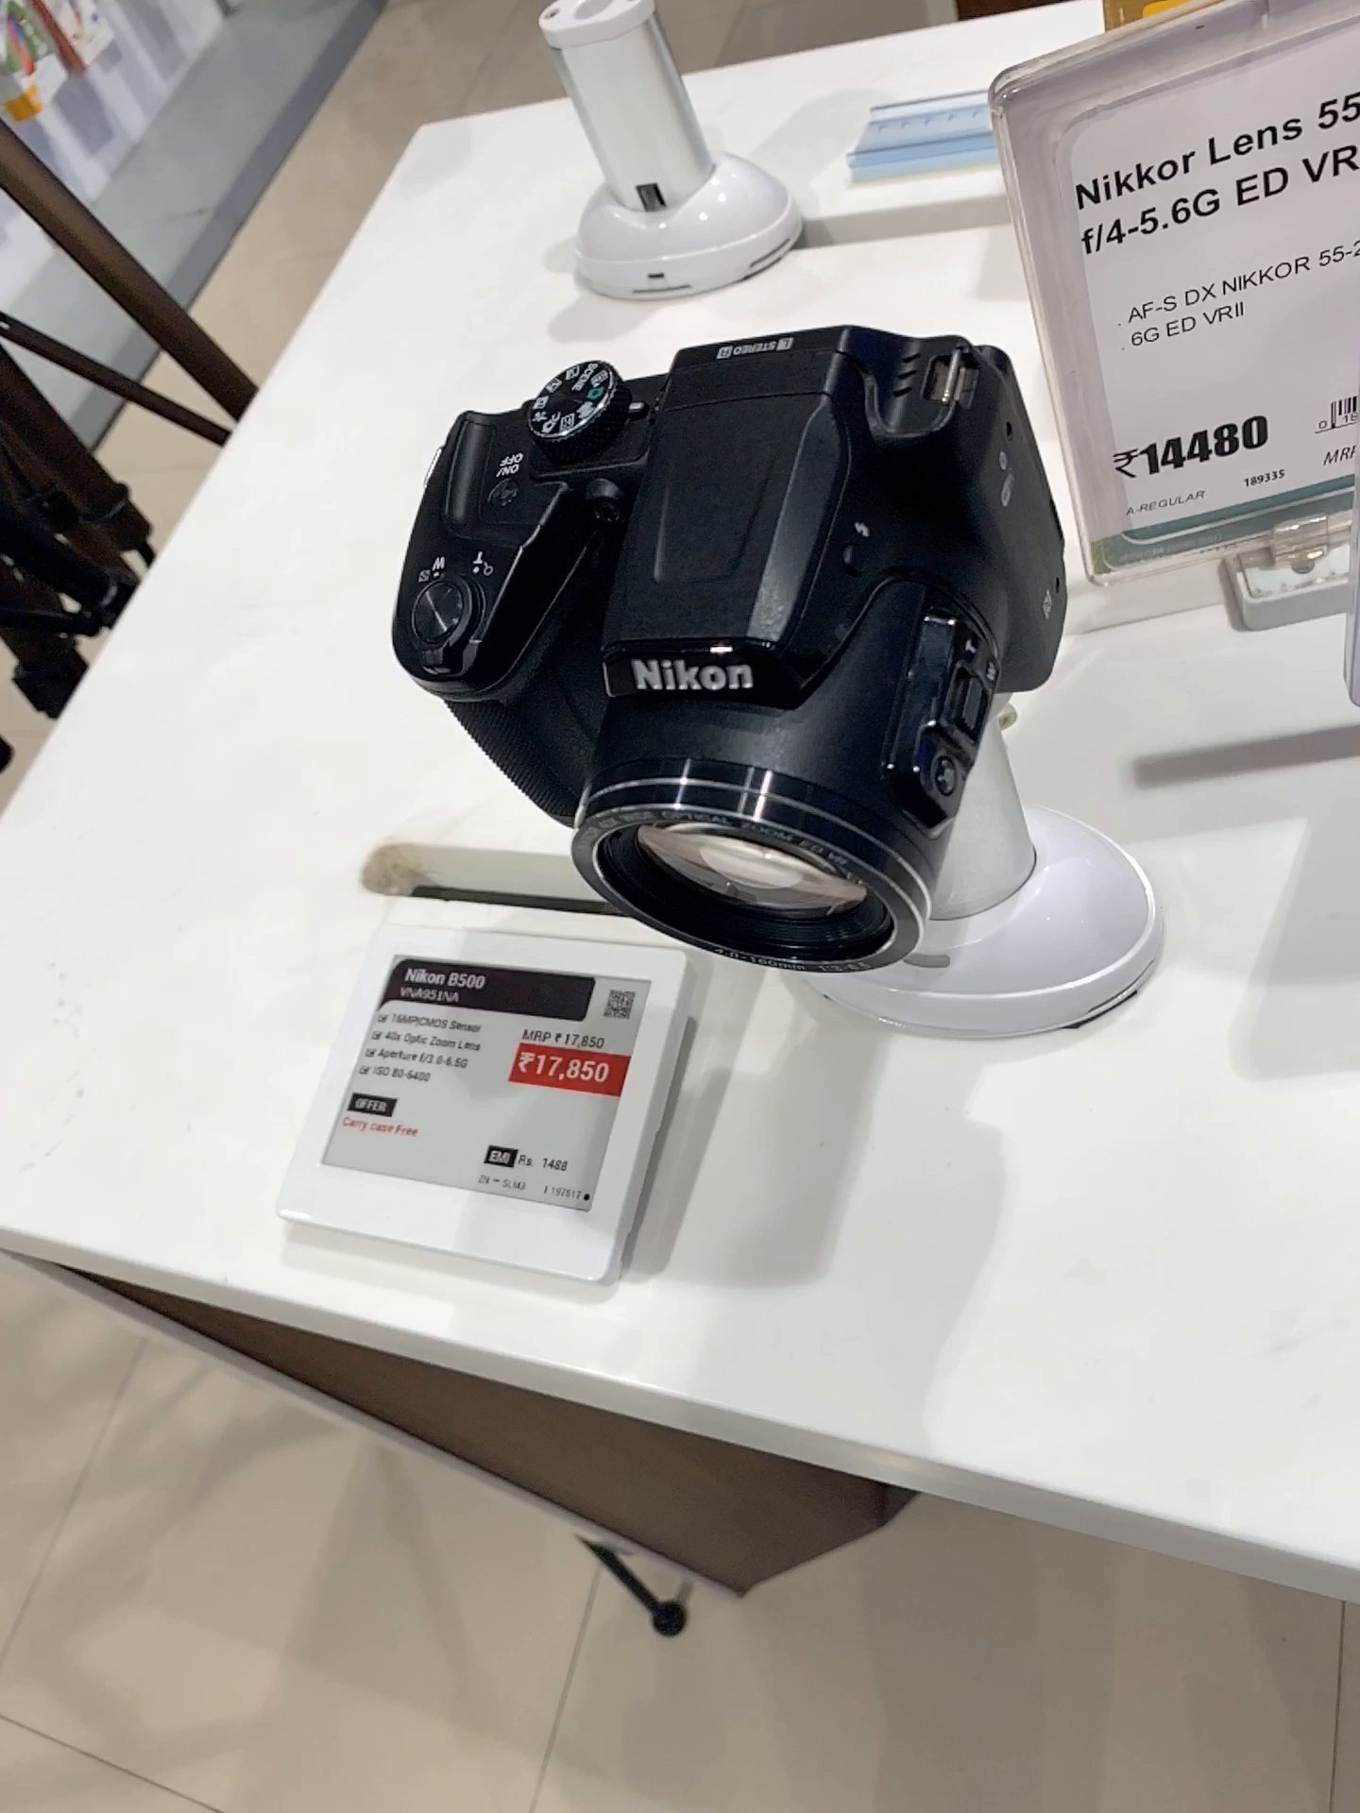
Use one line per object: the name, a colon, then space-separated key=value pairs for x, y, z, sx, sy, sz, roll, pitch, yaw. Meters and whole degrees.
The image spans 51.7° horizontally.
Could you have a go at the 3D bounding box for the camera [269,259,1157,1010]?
camera: x=0.012 y=-0.041 z=0.231 sx=0.113 sy=0.070 sz=0.083 roll=5 pitch=66 yaw=26
